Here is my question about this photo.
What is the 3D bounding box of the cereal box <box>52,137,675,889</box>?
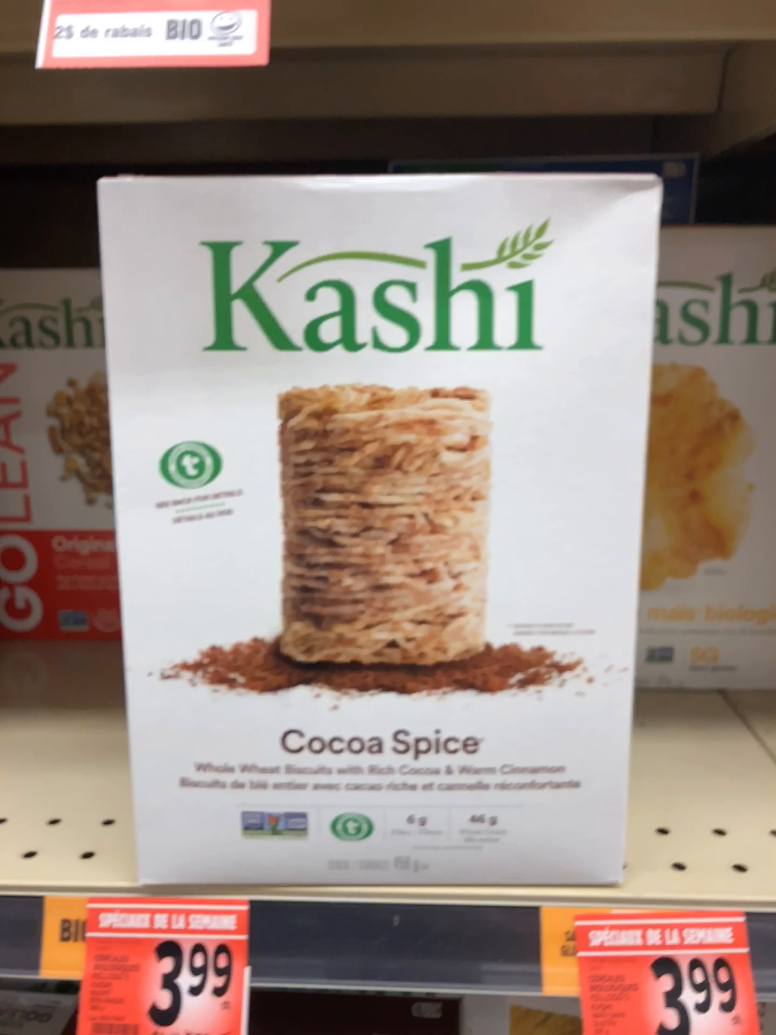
[{"bbox_3d":[-0.007,0.004,0.348,0.210,0.279,0.060,0,11,0],"label":"cereal box"}]
